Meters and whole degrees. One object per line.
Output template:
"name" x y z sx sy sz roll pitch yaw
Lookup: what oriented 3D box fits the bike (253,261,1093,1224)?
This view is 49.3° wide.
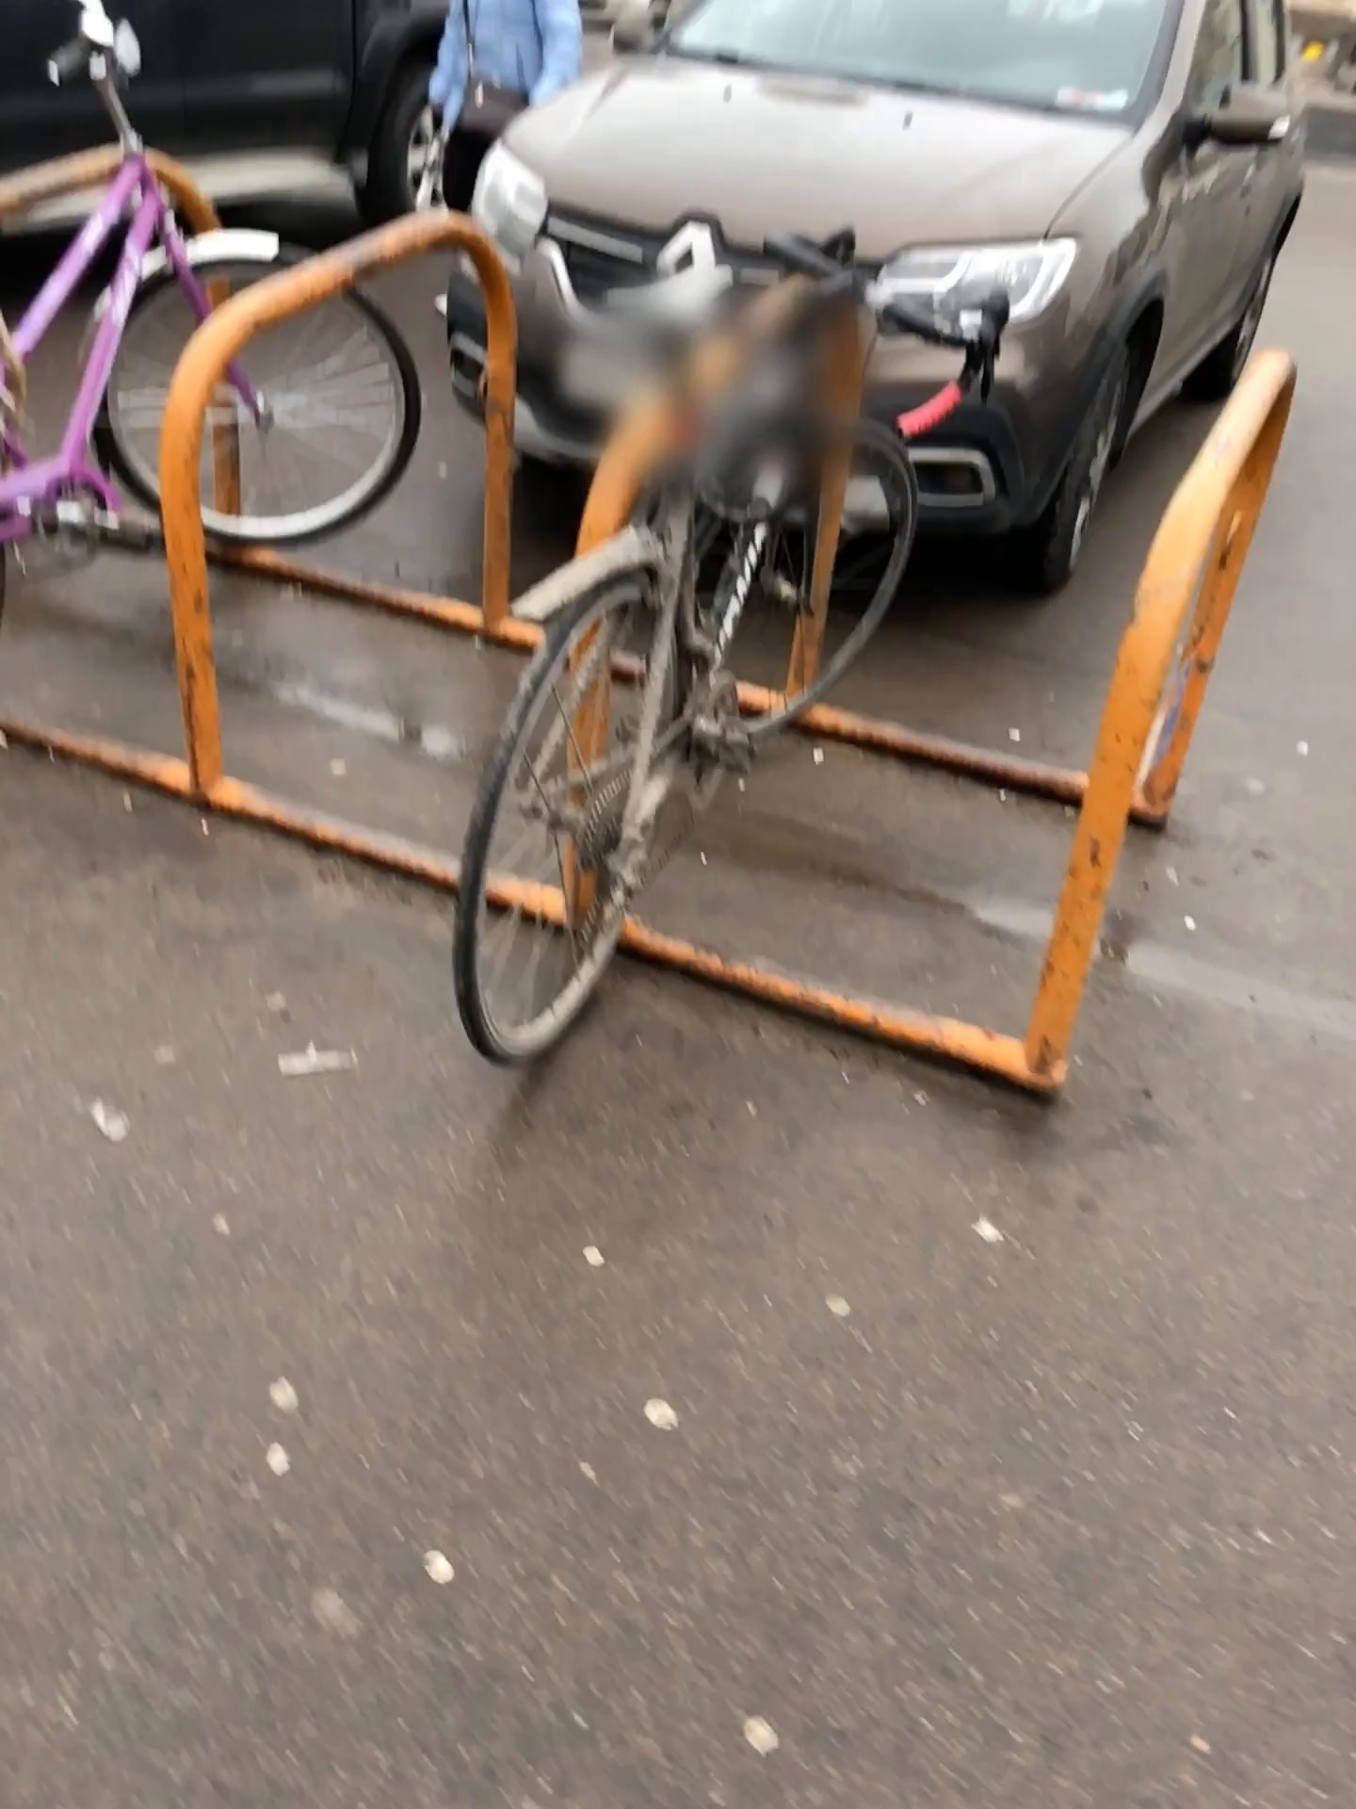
"bike" 0.099 -0.387 2.172 0.490 0.761 1.523 19 36 19
